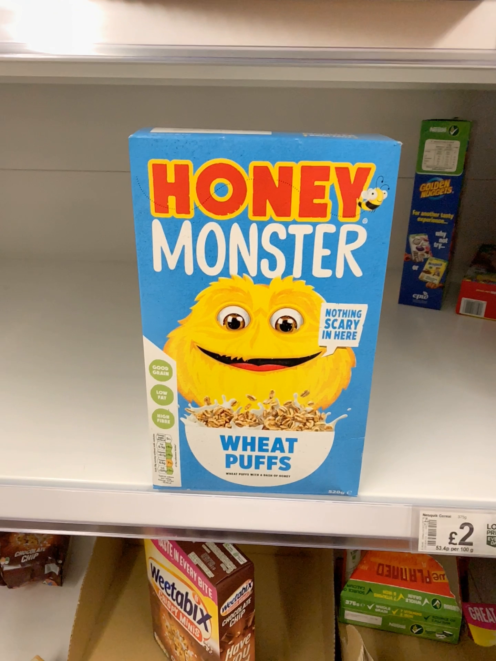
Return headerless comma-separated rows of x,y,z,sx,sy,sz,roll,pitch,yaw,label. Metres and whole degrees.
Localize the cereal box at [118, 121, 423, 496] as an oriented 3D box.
0.014,-0.015,0.433,0.200,0.298,0.091,2,23,2,cereal box
